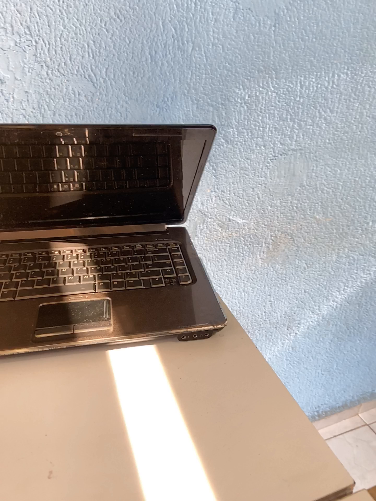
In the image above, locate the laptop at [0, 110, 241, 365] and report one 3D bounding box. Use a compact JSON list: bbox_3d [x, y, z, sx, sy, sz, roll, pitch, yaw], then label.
[{"bbox_3d":[-0.147,-0.046,0.471,0.344,0.190,0.246,-4,30,-11],"label":"laptop"}]
